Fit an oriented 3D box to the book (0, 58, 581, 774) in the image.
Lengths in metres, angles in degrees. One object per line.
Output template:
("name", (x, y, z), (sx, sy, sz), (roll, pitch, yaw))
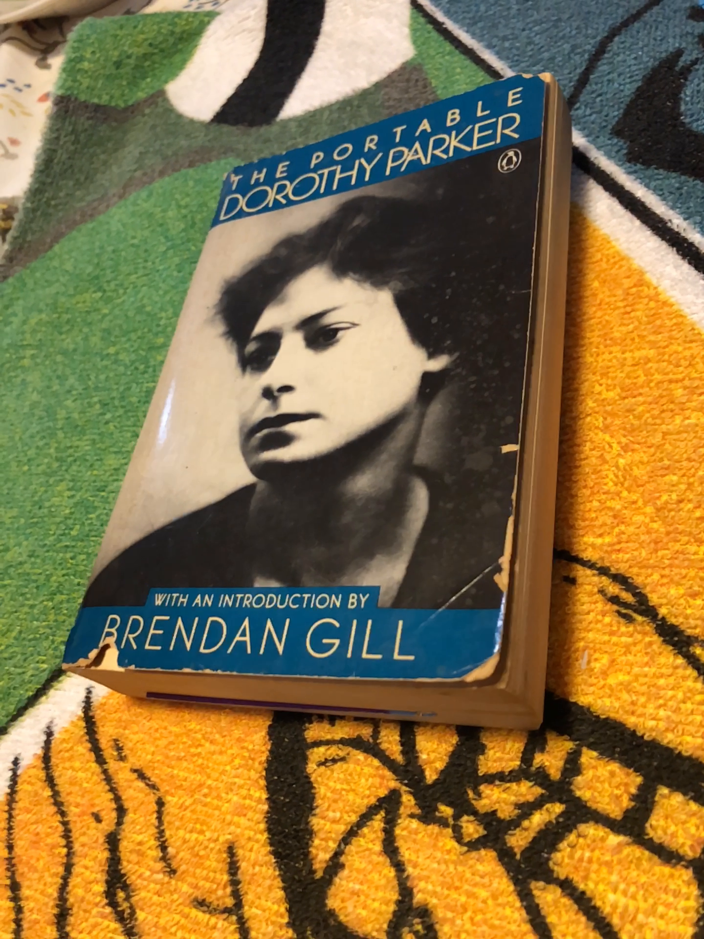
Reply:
("book", (-0.009, -0.024, 0.239), (0.140, 0.040, 0.201), (-4, 59, 25))
